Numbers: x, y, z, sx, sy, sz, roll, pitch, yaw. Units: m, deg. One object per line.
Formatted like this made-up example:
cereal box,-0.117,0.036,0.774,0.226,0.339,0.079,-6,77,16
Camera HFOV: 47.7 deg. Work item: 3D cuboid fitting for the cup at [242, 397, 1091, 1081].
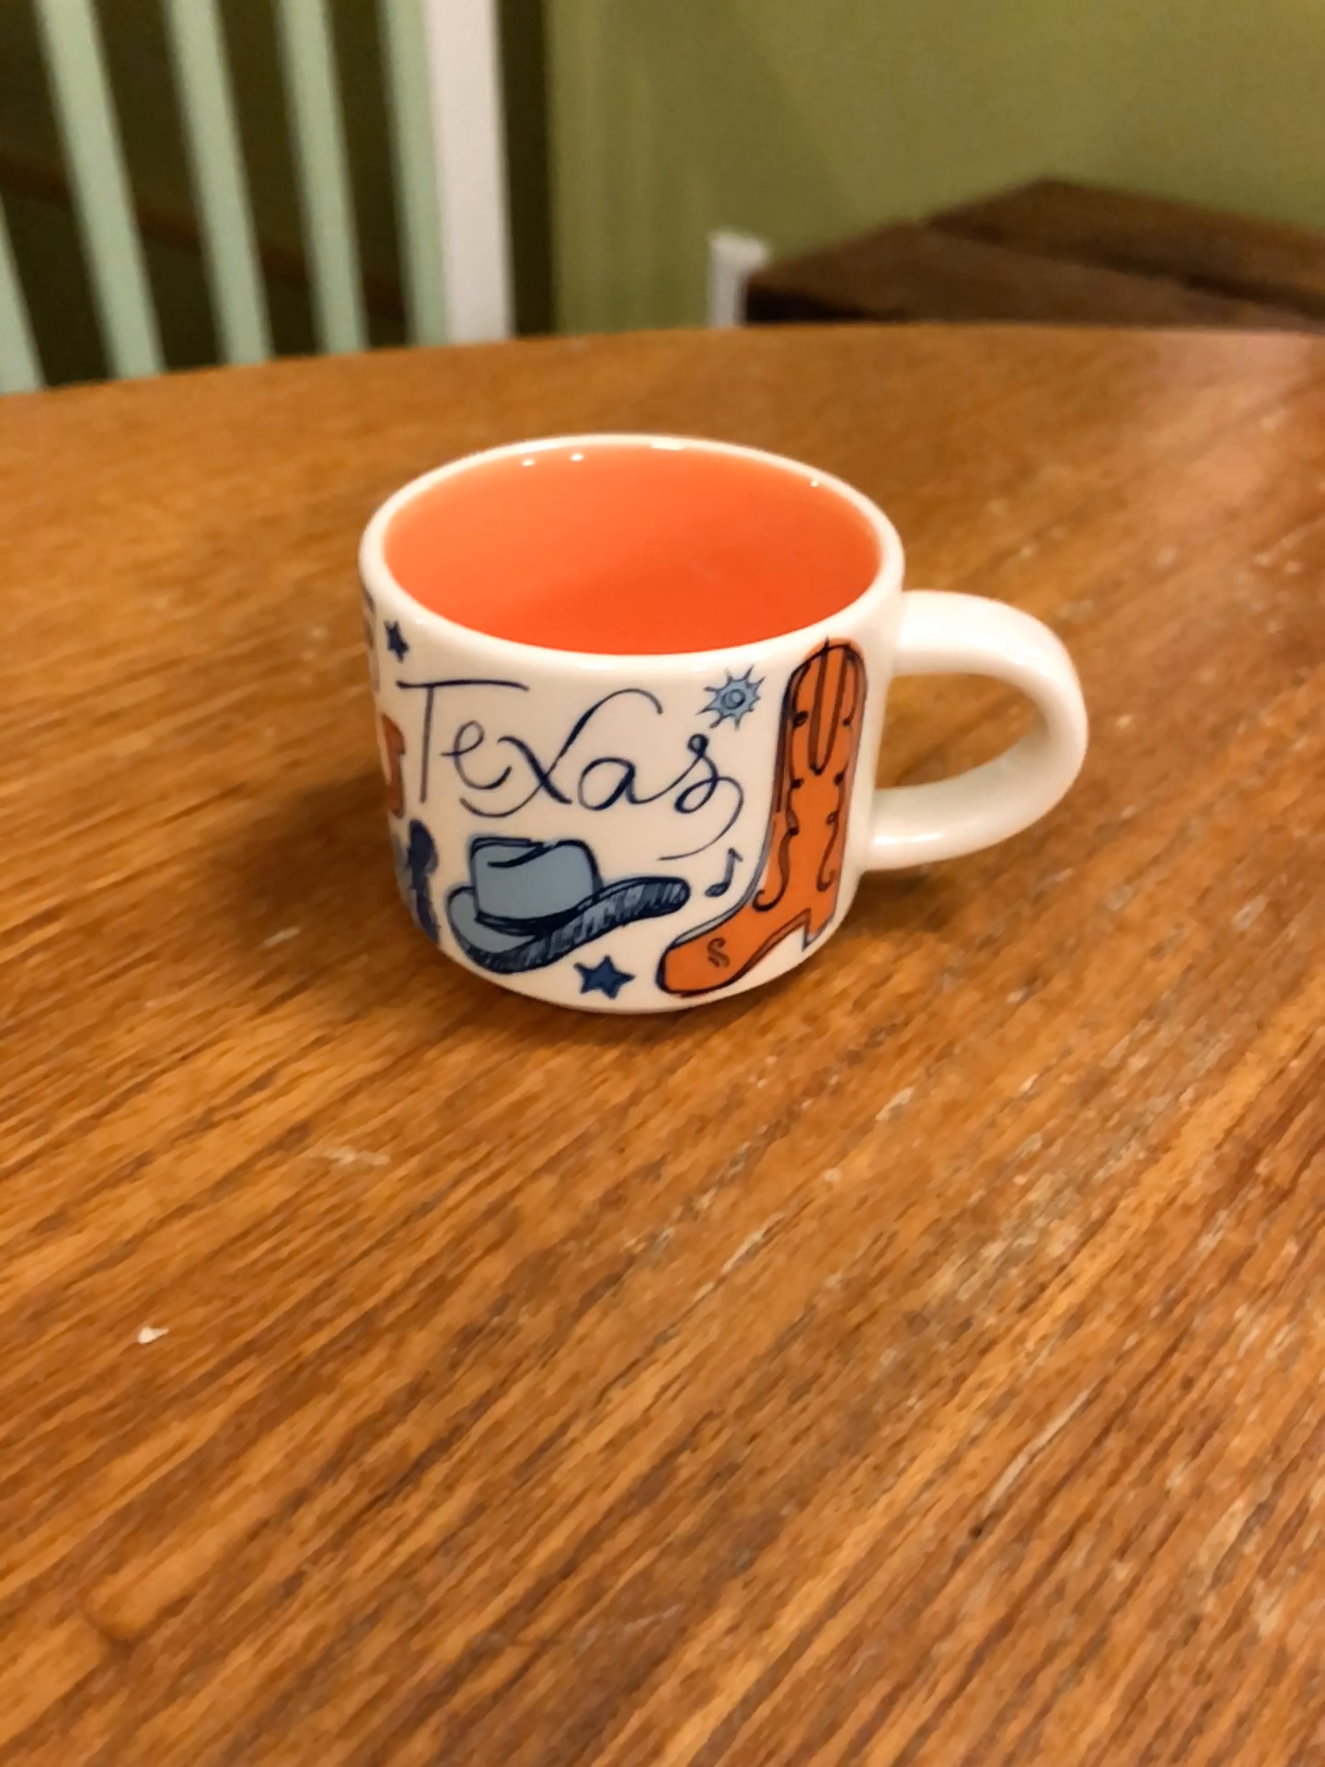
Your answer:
cup,0.003,-0.020,0.173,0.076,0.046,0.064,5,38,5
